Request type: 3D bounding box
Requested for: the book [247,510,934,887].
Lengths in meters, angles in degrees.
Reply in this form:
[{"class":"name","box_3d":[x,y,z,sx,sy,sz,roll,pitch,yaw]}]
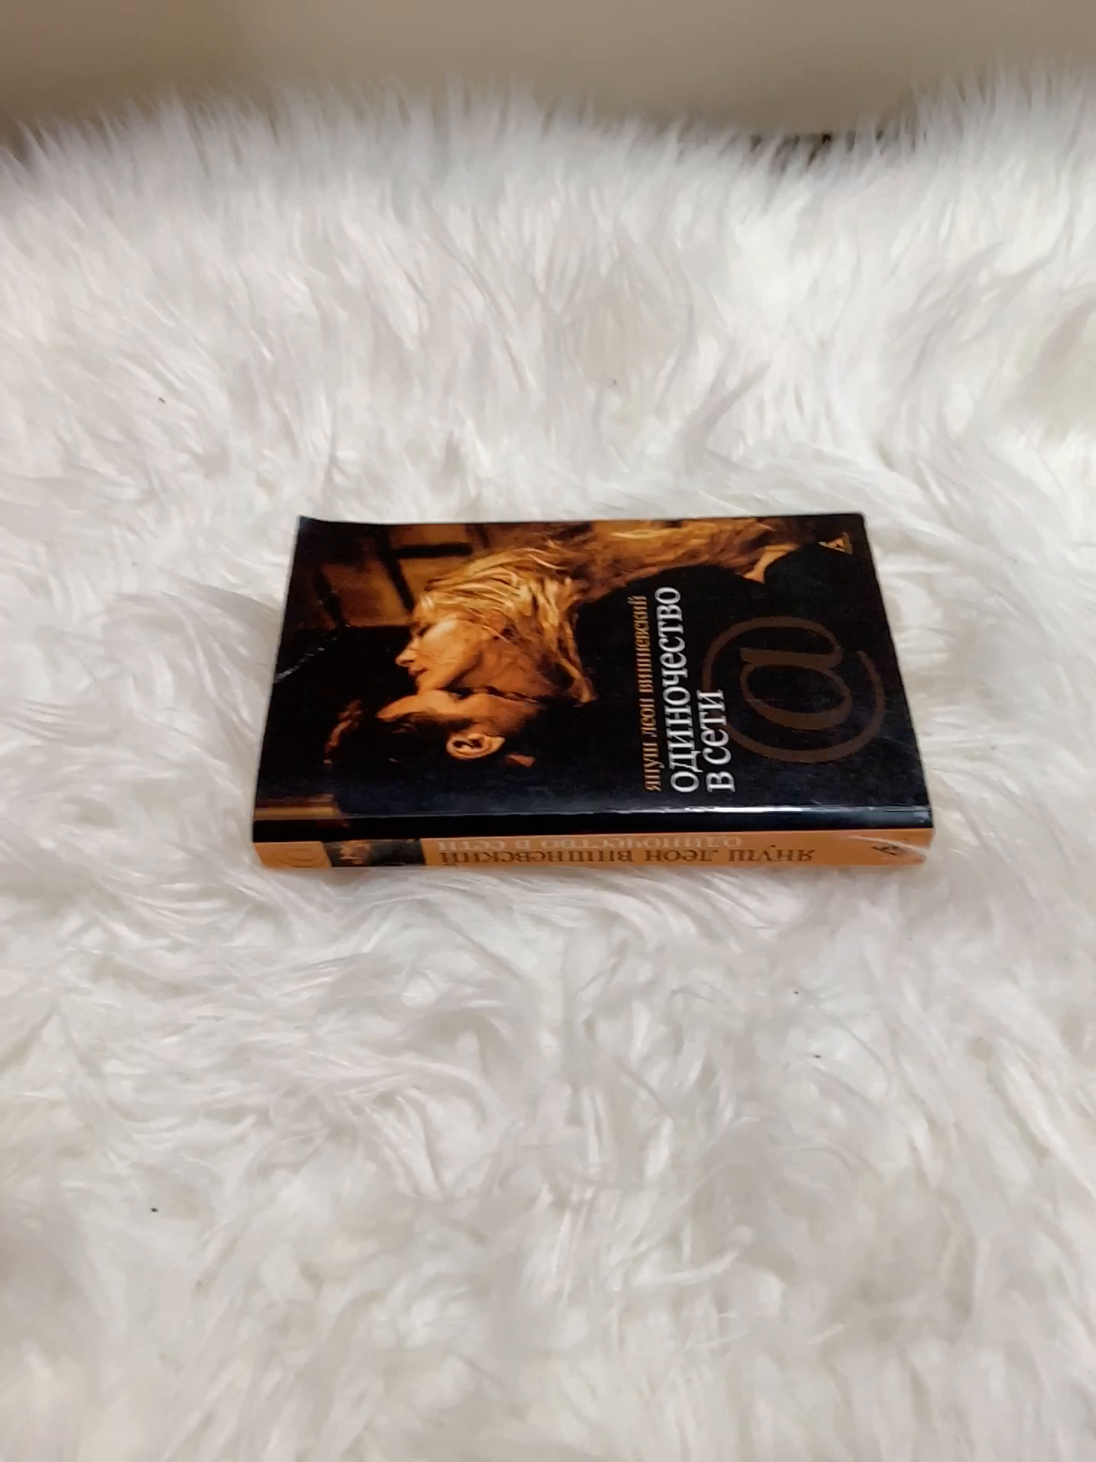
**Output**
[{"class":"book","box_3d":[0.010,-0.013,0.334,0.176,0.030,0.114,-1,55,-1]}]
